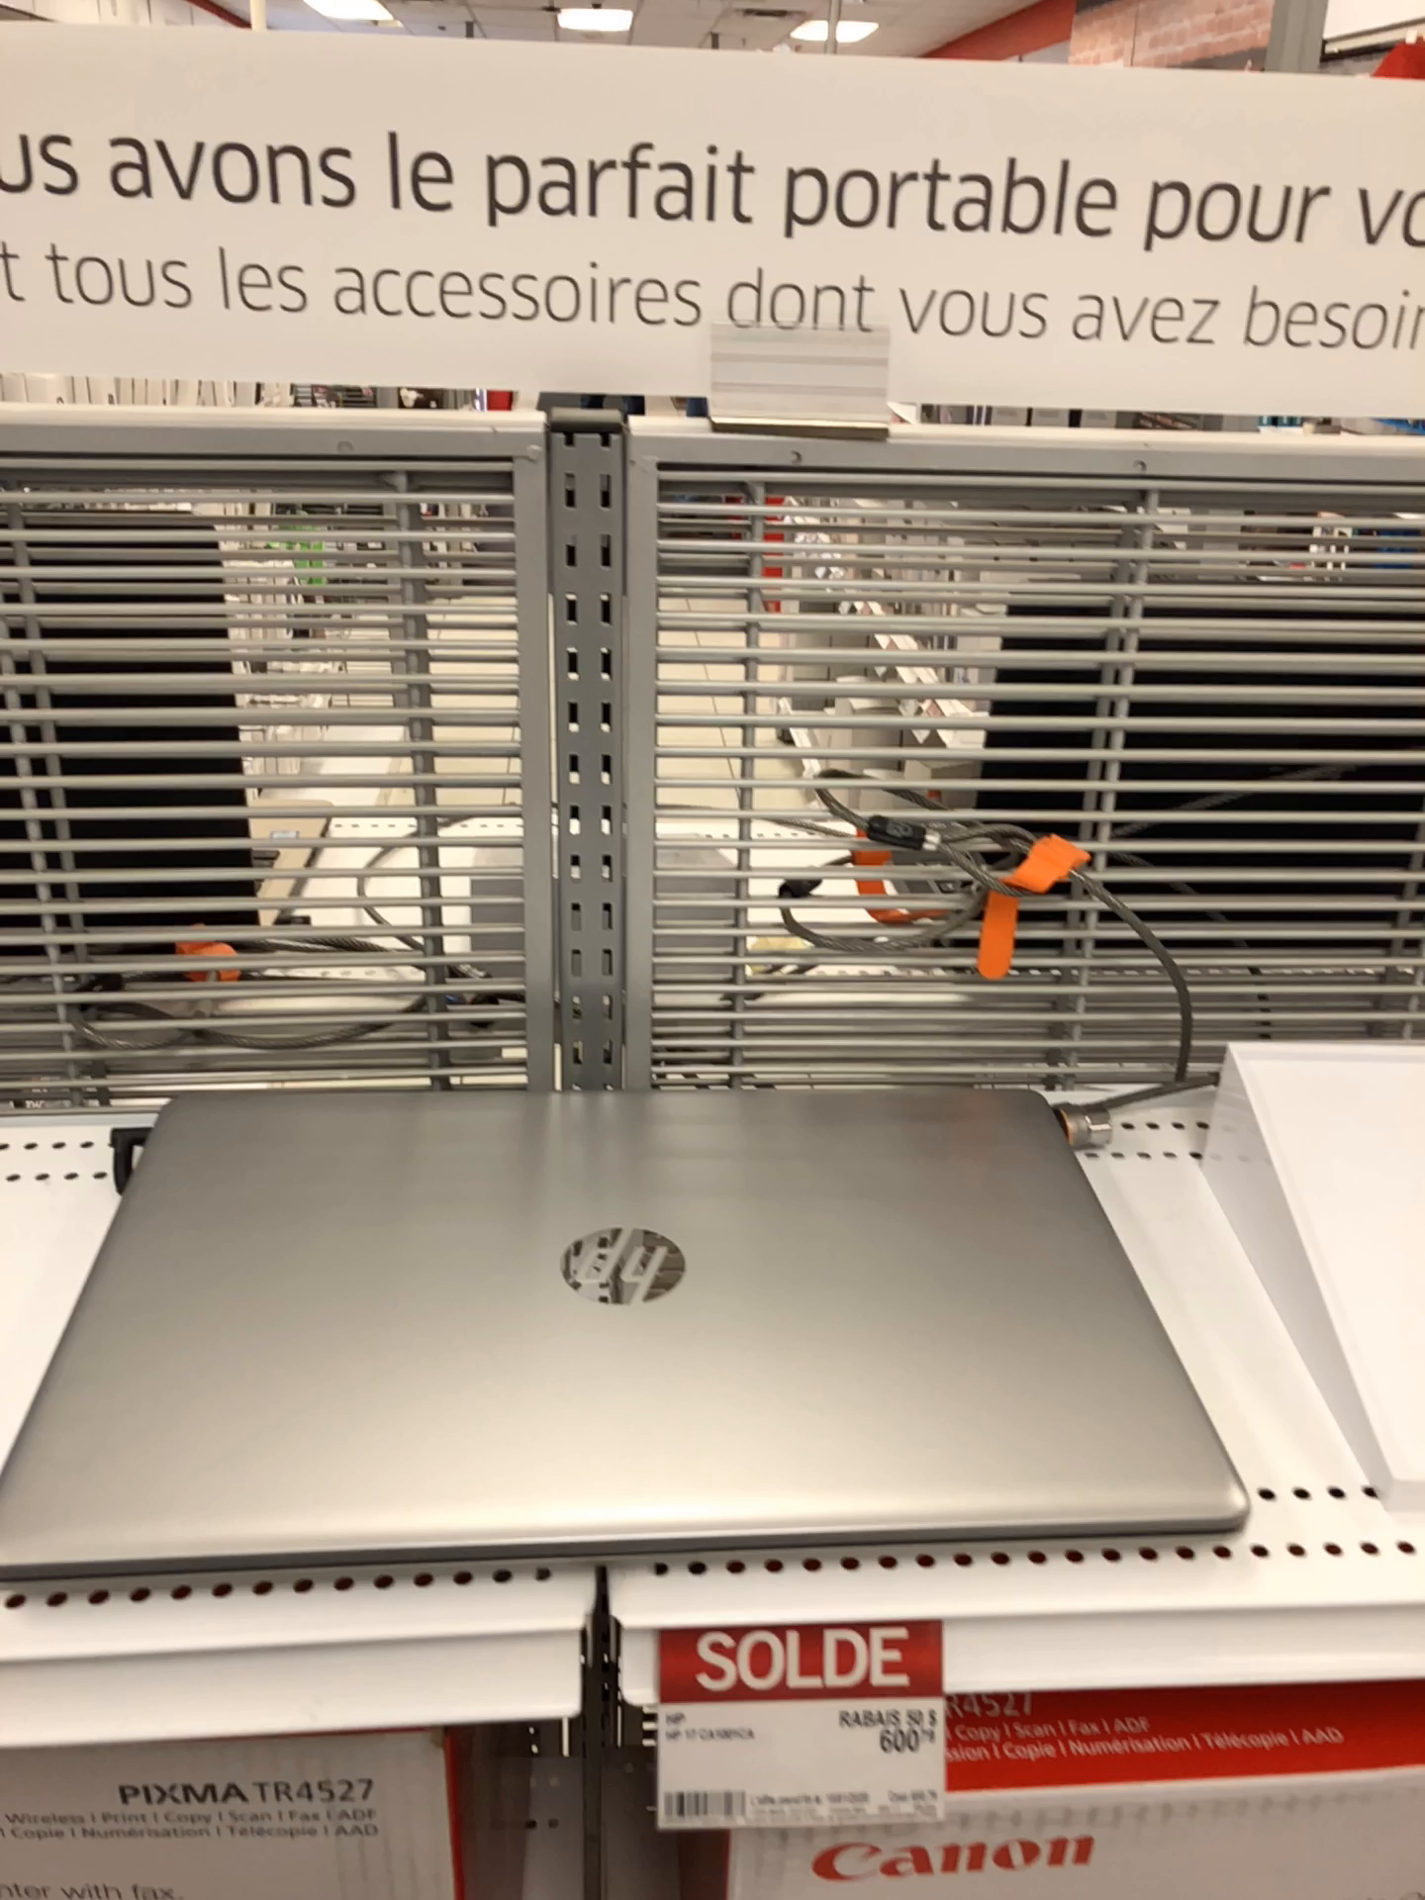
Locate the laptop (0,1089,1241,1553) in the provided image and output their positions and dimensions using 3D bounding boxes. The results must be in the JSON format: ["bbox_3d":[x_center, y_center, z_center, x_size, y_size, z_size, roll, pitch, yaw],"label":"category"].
[{"bbox_3d":[-0.037,0.132,0.644,0.416,0.002,0.278,-1,26,-4],"label":"laptop"}]
